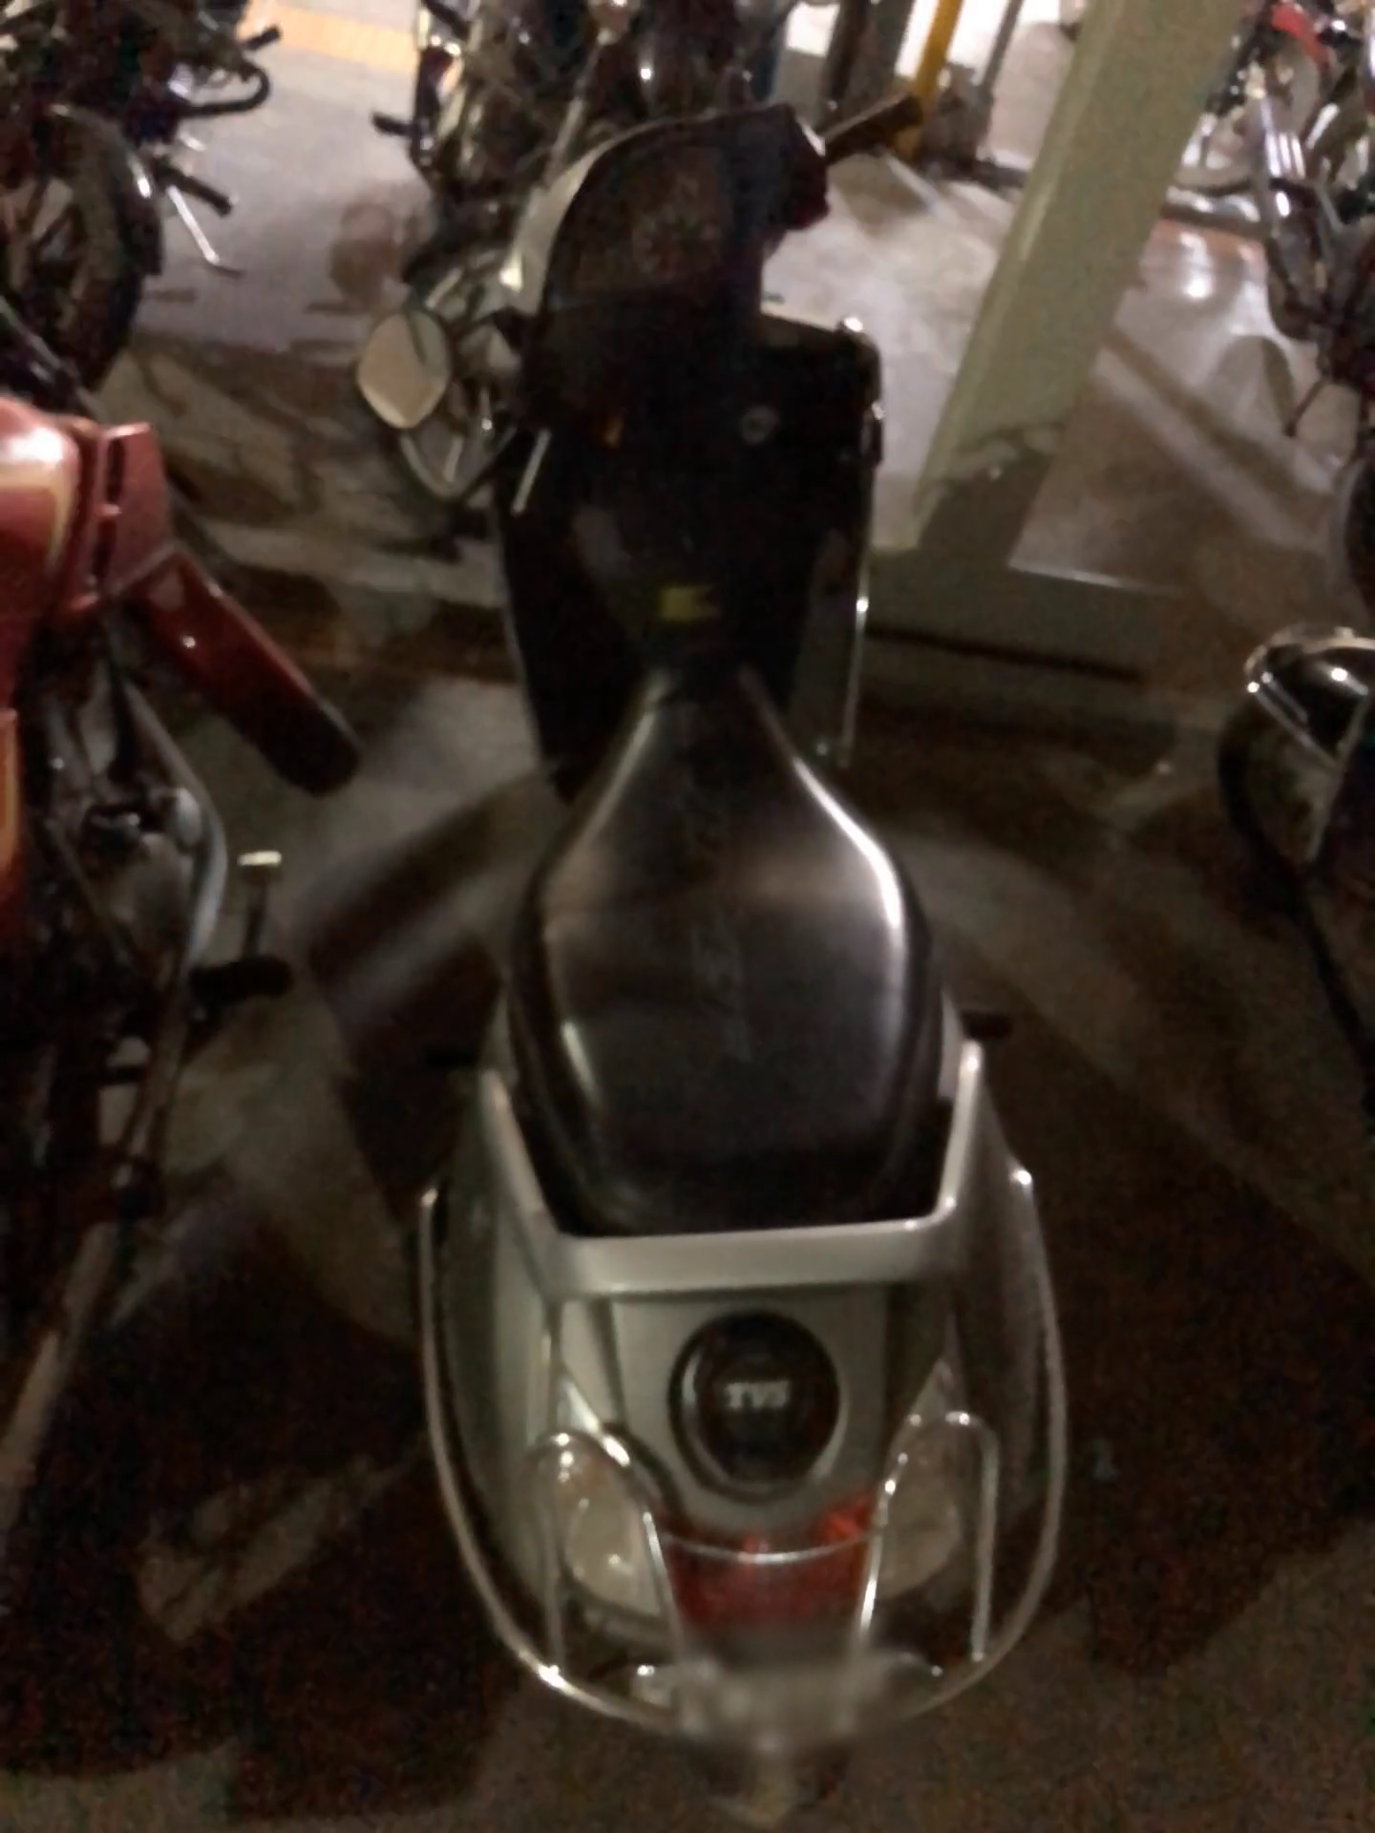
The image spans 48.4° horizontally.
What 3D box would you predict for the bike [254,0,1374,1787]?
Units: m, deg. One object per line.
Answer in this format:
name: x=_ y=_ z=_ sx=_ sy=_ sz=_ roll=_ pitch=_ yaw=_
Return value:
bike: x=-0.032 y=-0.052 z=1.540 sx=0.602 sy=1.095 sz=1.386 roll=5 pitch=47 yaw=-11
